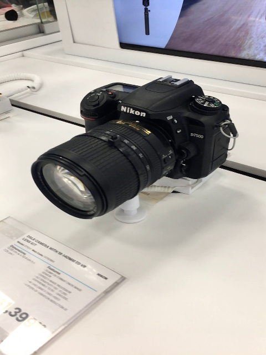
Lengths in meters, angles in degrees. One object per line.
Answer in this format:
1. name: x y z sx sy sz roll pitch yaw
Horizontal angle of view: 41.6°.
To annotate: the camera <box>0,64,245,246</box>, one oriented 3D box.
1. camera: -0.017 -0.035 0.344 0.141 0.092 0.177 29 48 35
